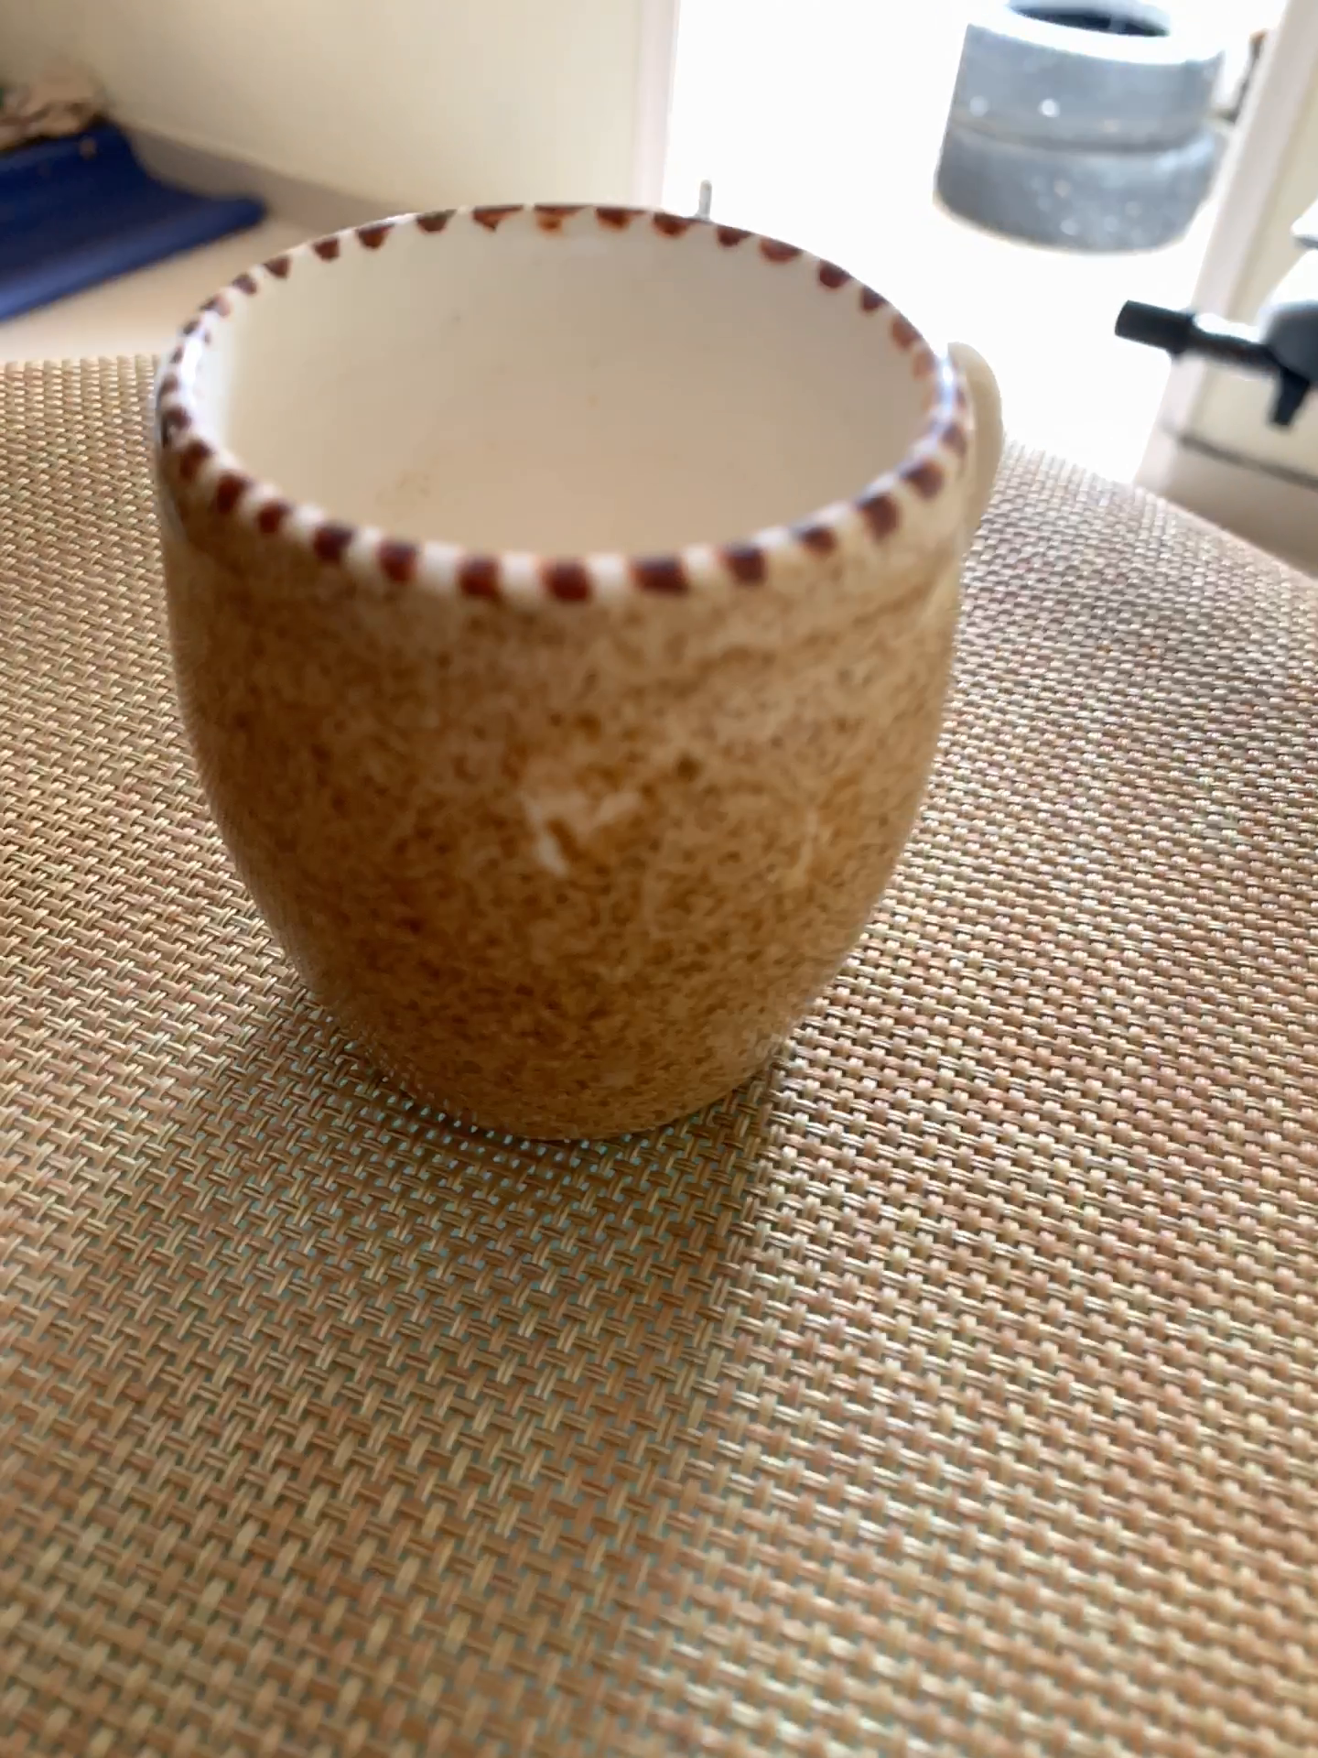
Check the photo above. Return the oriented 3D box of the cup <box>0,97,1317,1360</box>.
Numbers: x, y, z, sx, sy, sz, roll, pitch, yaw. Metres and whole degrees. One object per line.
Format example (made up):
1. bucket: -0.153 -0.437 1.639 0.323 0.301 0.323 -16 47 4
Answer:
1. cup: -0.002 -0.021 0.135 0.090 0.069 0.070 -24 52 -27
